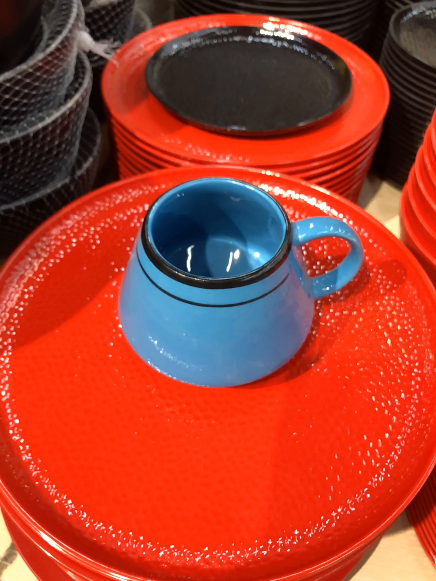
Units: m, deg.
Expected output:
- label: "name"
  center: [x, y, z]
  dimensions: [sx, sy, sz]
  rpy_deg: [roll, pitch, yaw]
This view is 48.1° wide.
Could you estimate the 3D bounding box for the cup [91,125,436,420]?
- label: "cup"
  center: [0.012, -0.013, 0.266]
  dimensions: [0.140, 0.089, 0.111]
  rpy_deg: [-9, 50, -8]
